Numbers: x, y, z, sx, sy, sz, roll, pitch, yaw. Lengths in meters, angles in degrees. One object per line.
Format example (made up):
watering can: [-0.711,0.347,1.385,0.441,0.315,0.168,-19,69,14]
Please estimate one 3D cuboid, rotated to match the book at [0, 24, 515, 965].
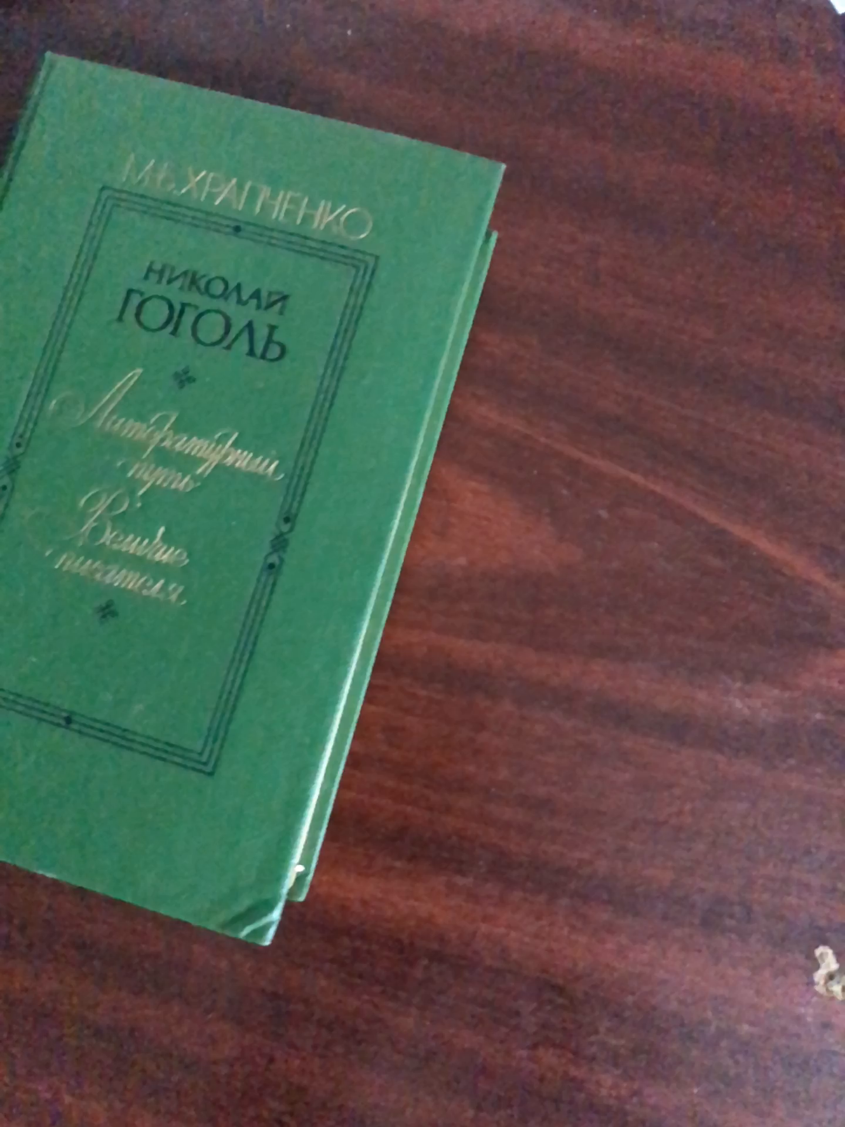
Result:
book: [-0.066,-0.023,0.252,0.129,0.050,0.206,15,82,5]
